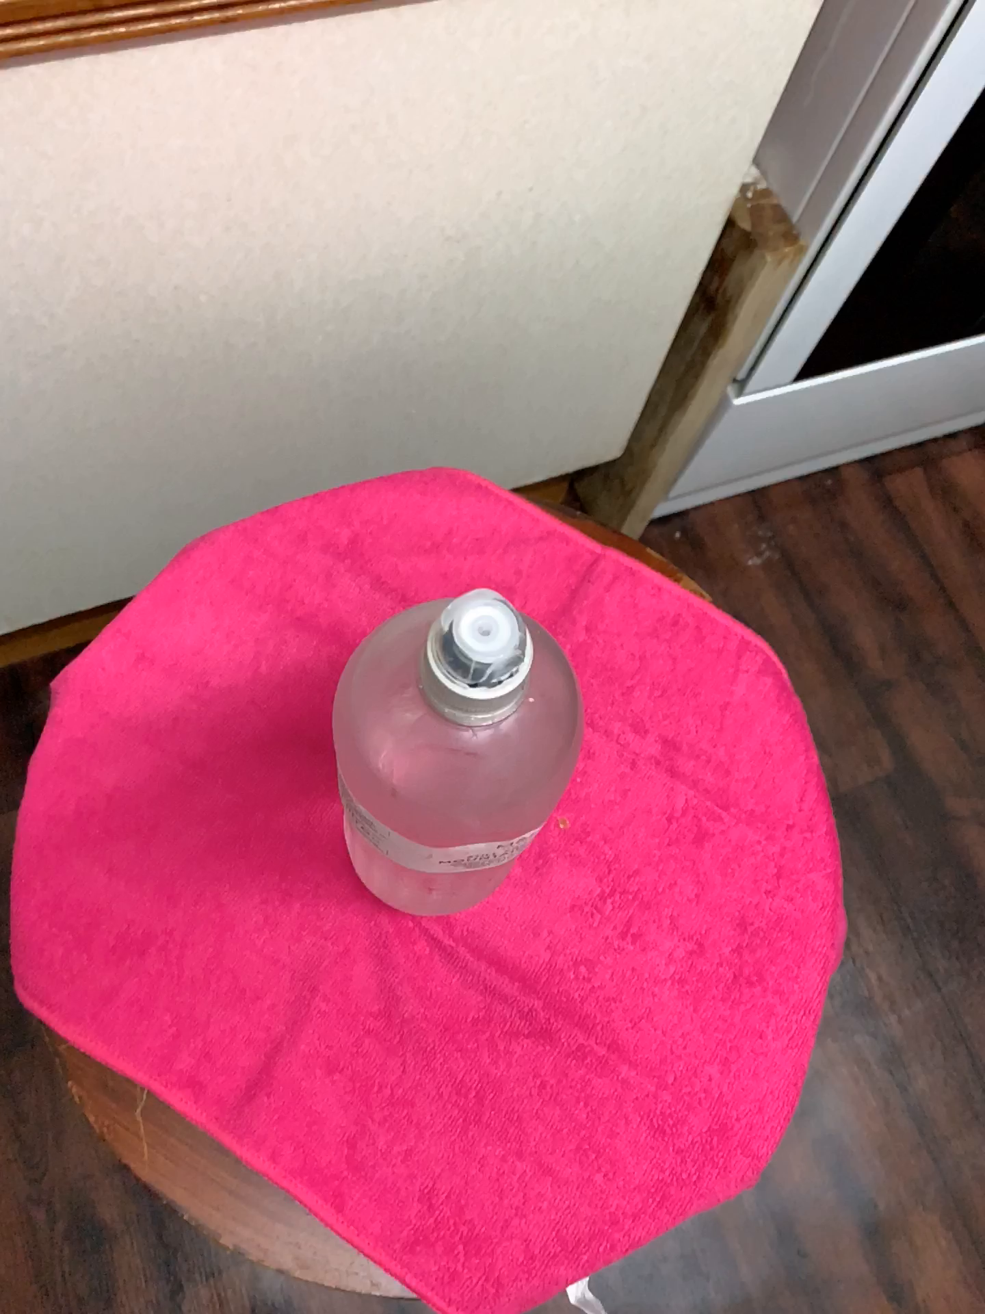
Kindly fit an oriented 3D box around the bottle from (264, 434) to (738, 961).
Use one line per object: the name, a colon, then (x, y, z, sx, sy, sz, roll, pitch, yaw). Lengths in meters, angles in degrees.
bottle: (-0.012, 0.040, 0.374, 0.090, 0.259, 0.080, -34, 77, -18)
